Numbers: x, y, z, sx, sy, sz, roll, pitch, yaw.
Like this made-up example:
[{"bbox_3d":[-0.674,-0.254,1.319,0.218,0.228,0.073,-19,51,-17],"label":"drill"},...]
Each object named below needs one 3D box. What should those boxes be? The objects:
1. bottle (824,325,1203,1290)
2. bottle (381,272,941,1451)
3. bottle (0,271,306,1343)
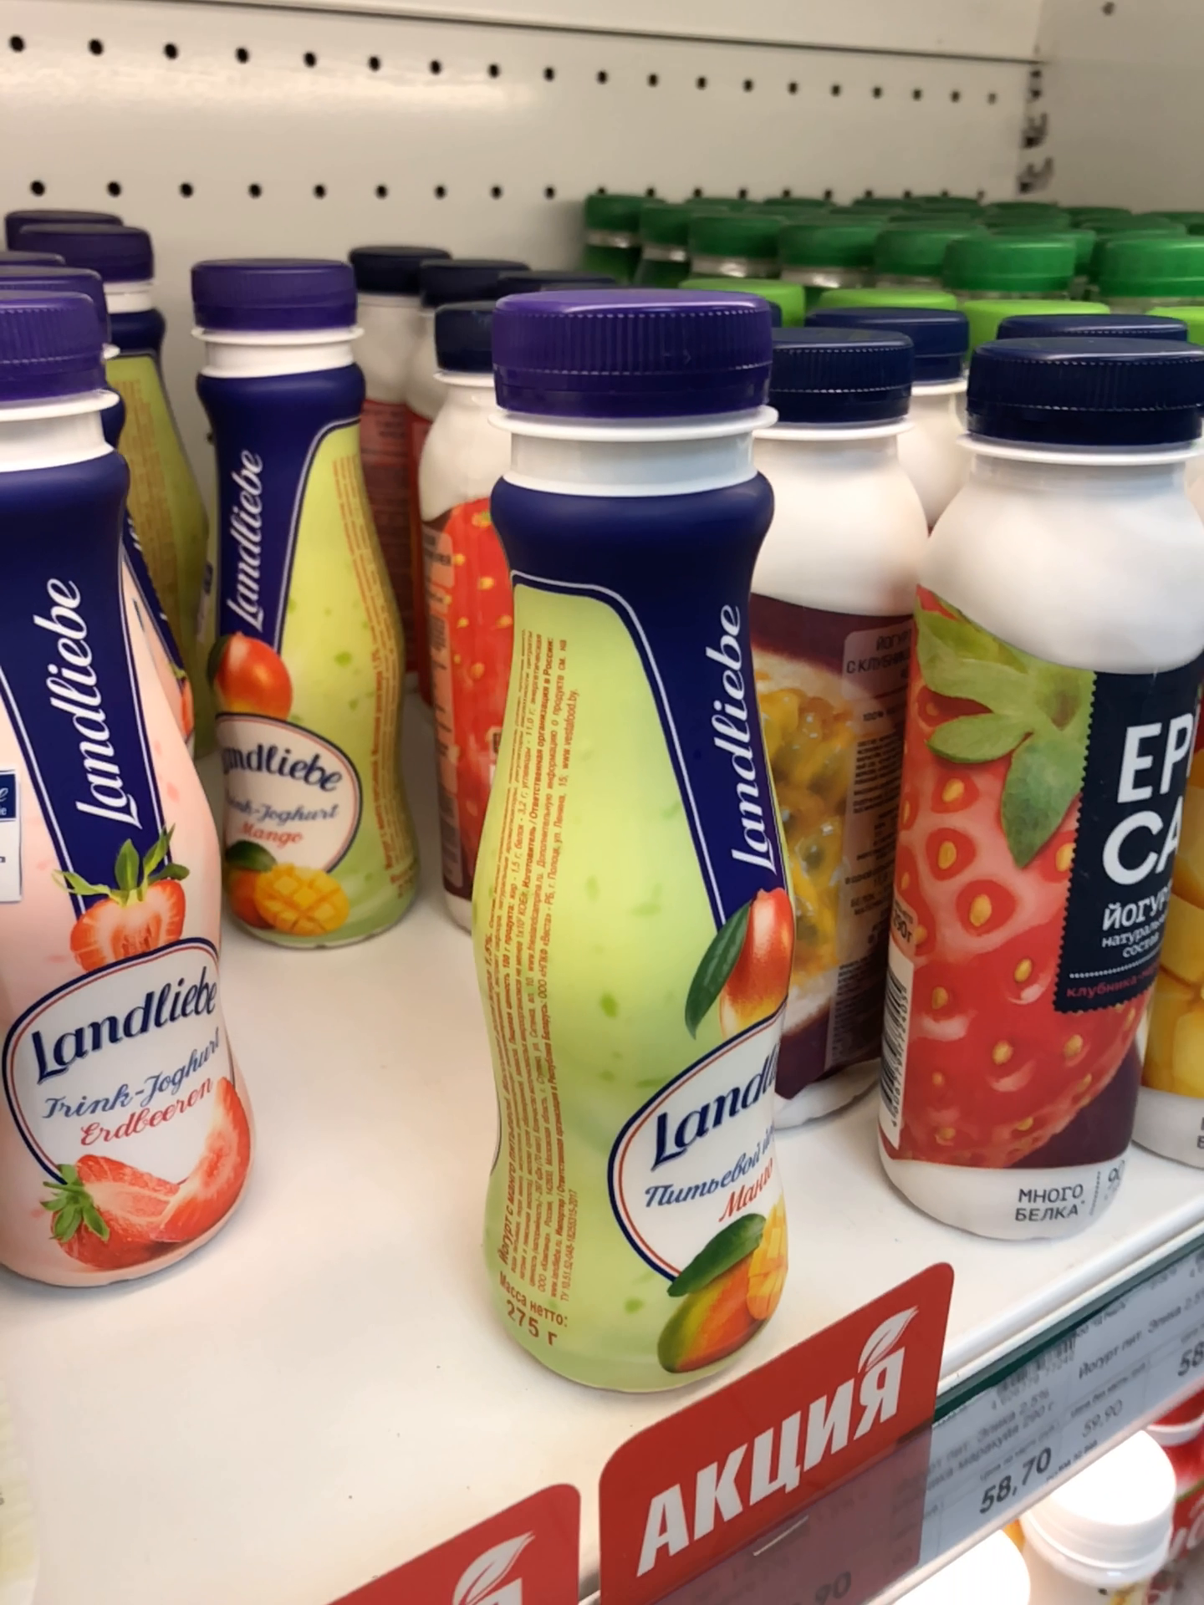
[{"bbox_3d":[0.084,0.002,0.258,0.051,0.173,0.048,0,24,0],"label":"bottle"},{"bbox_3d":[0.008,0.010,0.220,0.055,0.177,0.053,0,24,0],"label":"bottle"},{"bbox_3d":[-0.100,0.001,0.244,0.057,0.178,0.053,0,24,0],"label":"bottle"}]
